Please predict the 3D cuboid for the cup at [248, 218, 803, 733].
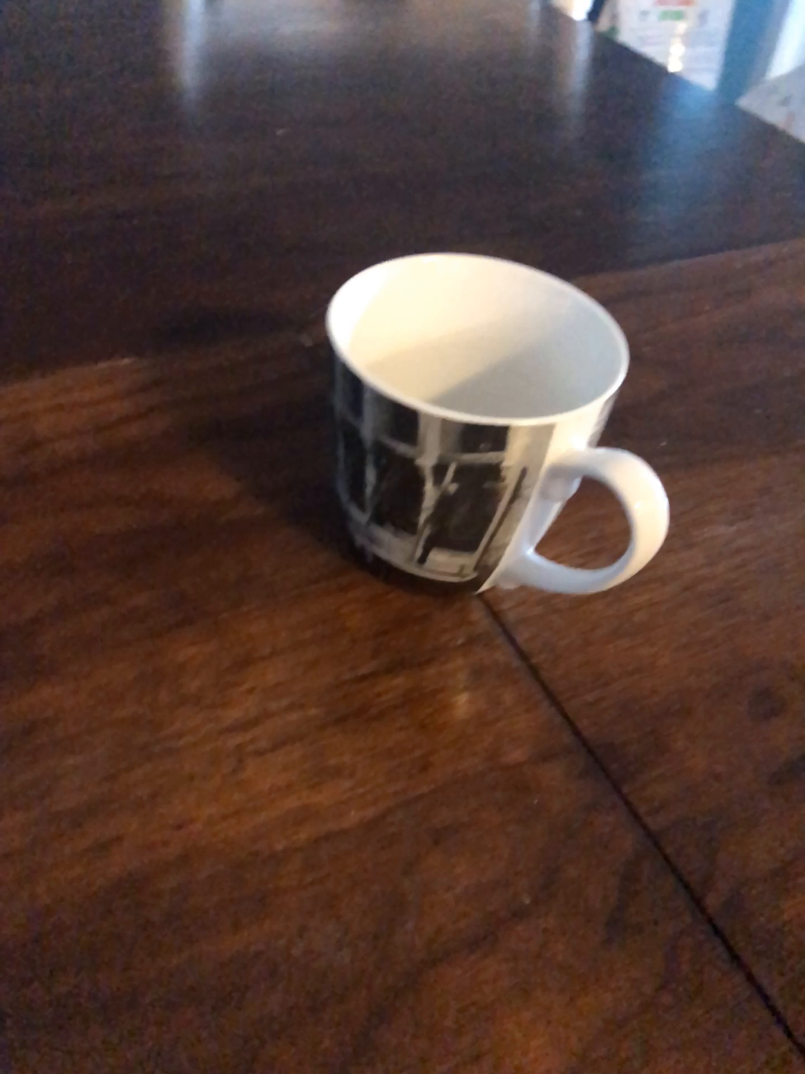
[{"bbox_3d":[0.032,-0.030,0.302,0.100,0.080,0.140,-31,56,-33],"label":"cup"}]
